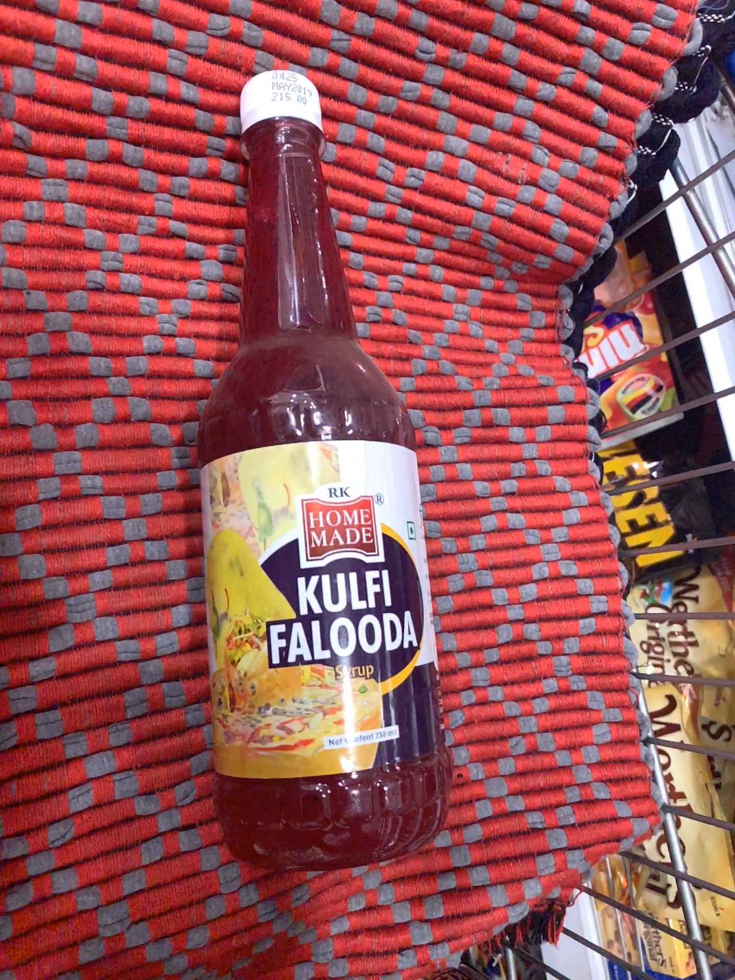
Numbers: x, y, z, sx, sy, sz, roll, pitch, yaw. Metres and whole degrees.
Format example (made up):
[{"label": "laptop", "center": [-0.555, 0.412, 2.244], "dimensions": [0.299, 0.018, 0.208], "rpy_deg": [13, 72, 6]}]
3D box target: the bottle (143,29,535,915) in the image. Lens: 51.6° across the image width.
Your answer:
[{"label": "bottle", "center": [-0.021, -0.014, 0.248], "dimensions": [0.070, 0.070, 0.250], "rpy_deg": [0, 72, -30]}]
